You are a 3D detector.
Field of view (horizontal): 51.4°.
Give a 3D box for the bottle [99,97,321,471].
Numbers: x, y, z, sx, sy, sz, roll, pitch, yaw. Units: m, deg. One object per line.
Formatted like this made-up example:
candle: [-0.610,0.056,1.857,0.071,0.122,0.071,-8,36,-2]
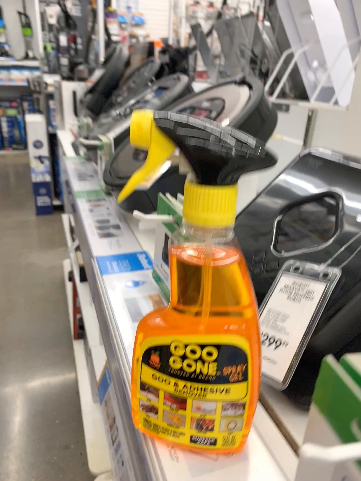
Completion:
bottle: [0.011,0.034,0.236,0.100,0.226,0.050,7,24,10]
